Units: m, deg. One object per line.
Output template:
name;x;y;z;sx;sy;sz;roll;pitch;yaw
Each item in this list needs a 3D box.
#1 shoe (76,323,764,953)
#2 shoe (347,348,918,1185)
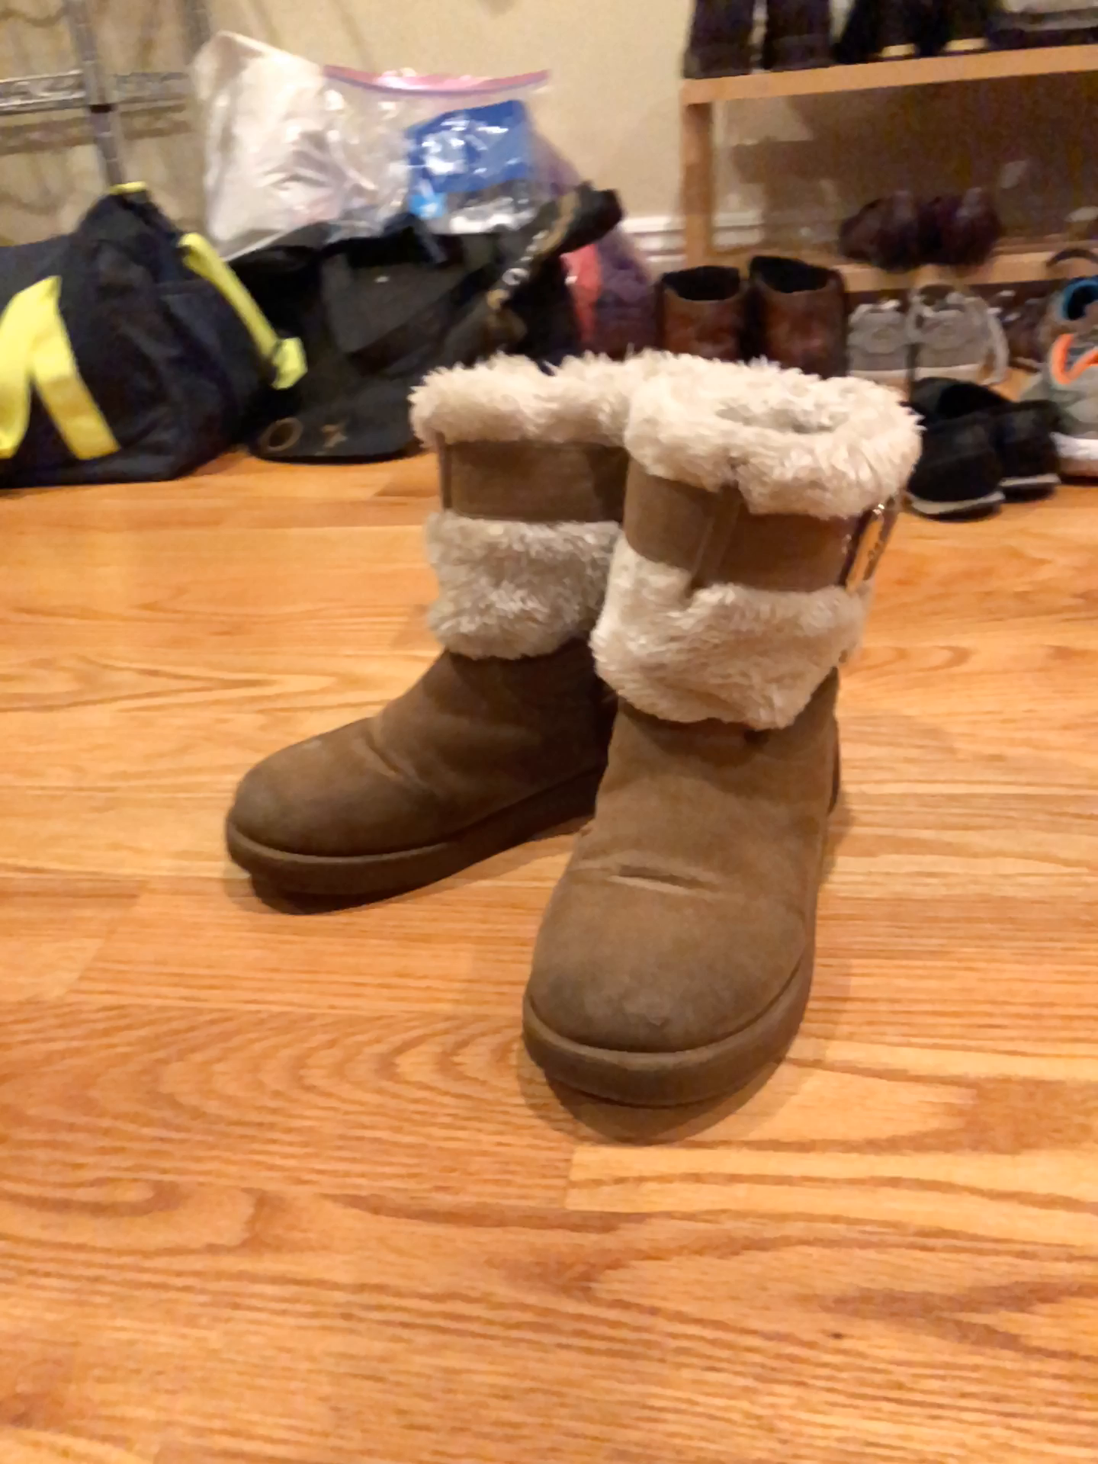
shoe;-0.043;-0.053;0.525;0.254;0.193;0.107;-17;29;-22
shoe;0.055;-0.015;0.440;0.113;0.193;0.255;6;29;21
